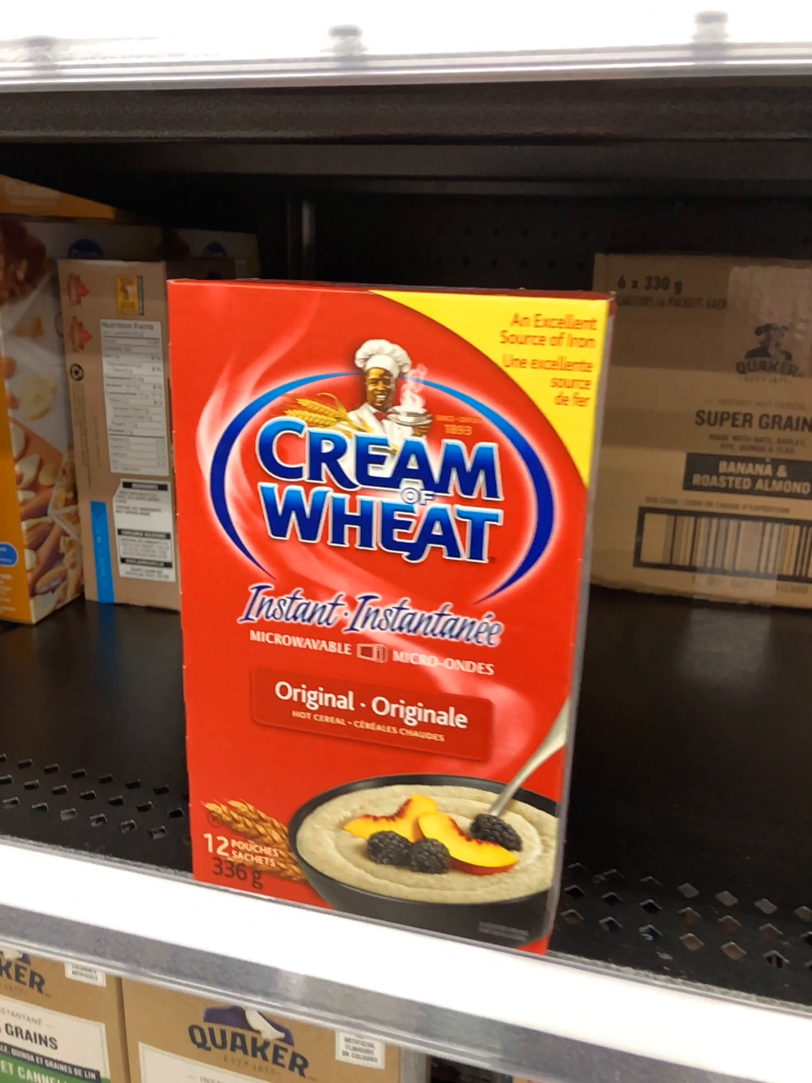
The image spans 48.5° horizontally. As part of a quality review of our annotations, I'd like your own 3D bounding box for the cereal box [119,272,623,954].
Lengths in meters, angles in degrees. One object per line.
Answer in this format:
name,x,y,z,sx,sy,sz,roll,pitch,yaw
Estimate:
cereal box,-0.008,0.017,0.283,0.130,0.189,0.060,6,19,14
